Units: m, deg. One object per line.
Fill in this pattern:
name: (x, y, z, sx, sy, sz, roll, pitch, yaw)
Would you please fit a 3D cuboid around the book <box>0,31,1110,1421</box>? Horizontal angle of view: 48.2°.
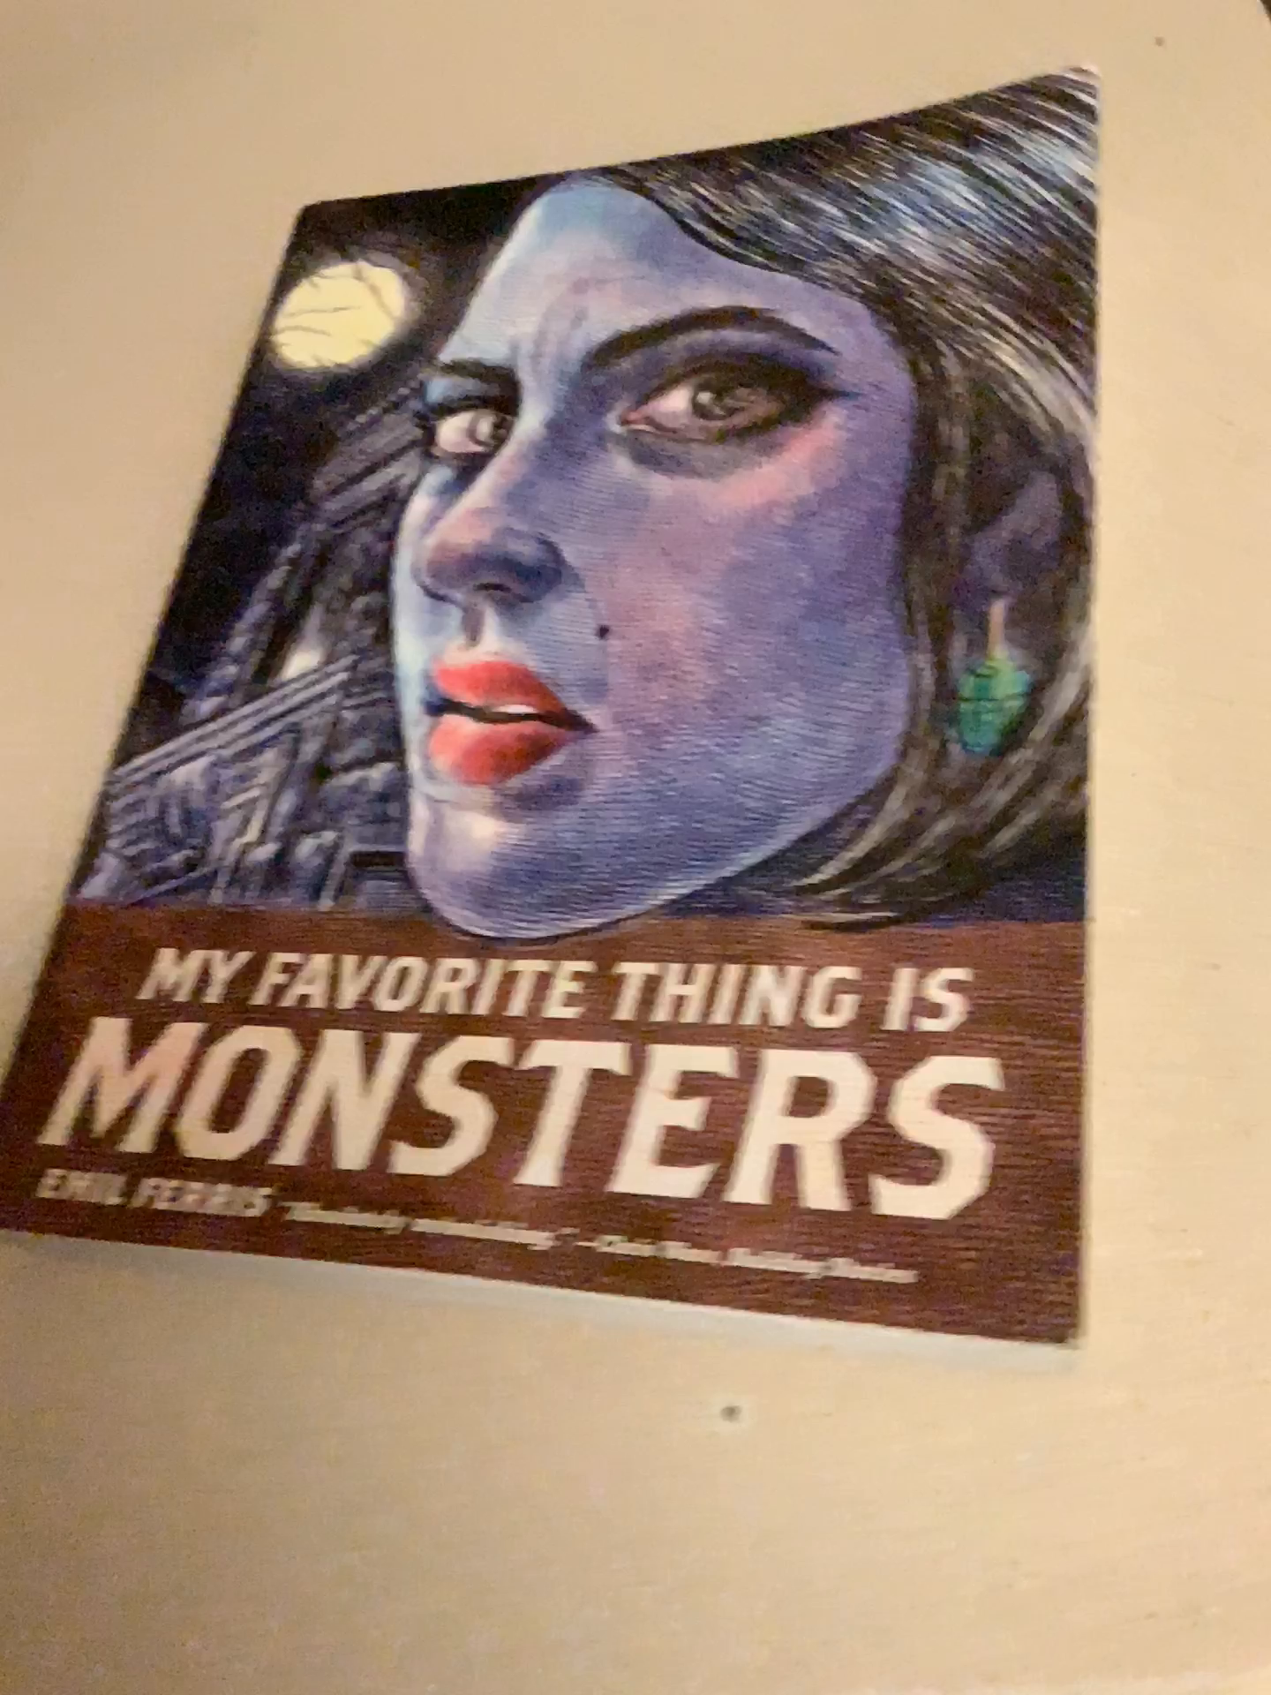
book: (-0.012, -0.042, 0.287, 0.200, 0.040, 0.270, 0, 63, 17)
